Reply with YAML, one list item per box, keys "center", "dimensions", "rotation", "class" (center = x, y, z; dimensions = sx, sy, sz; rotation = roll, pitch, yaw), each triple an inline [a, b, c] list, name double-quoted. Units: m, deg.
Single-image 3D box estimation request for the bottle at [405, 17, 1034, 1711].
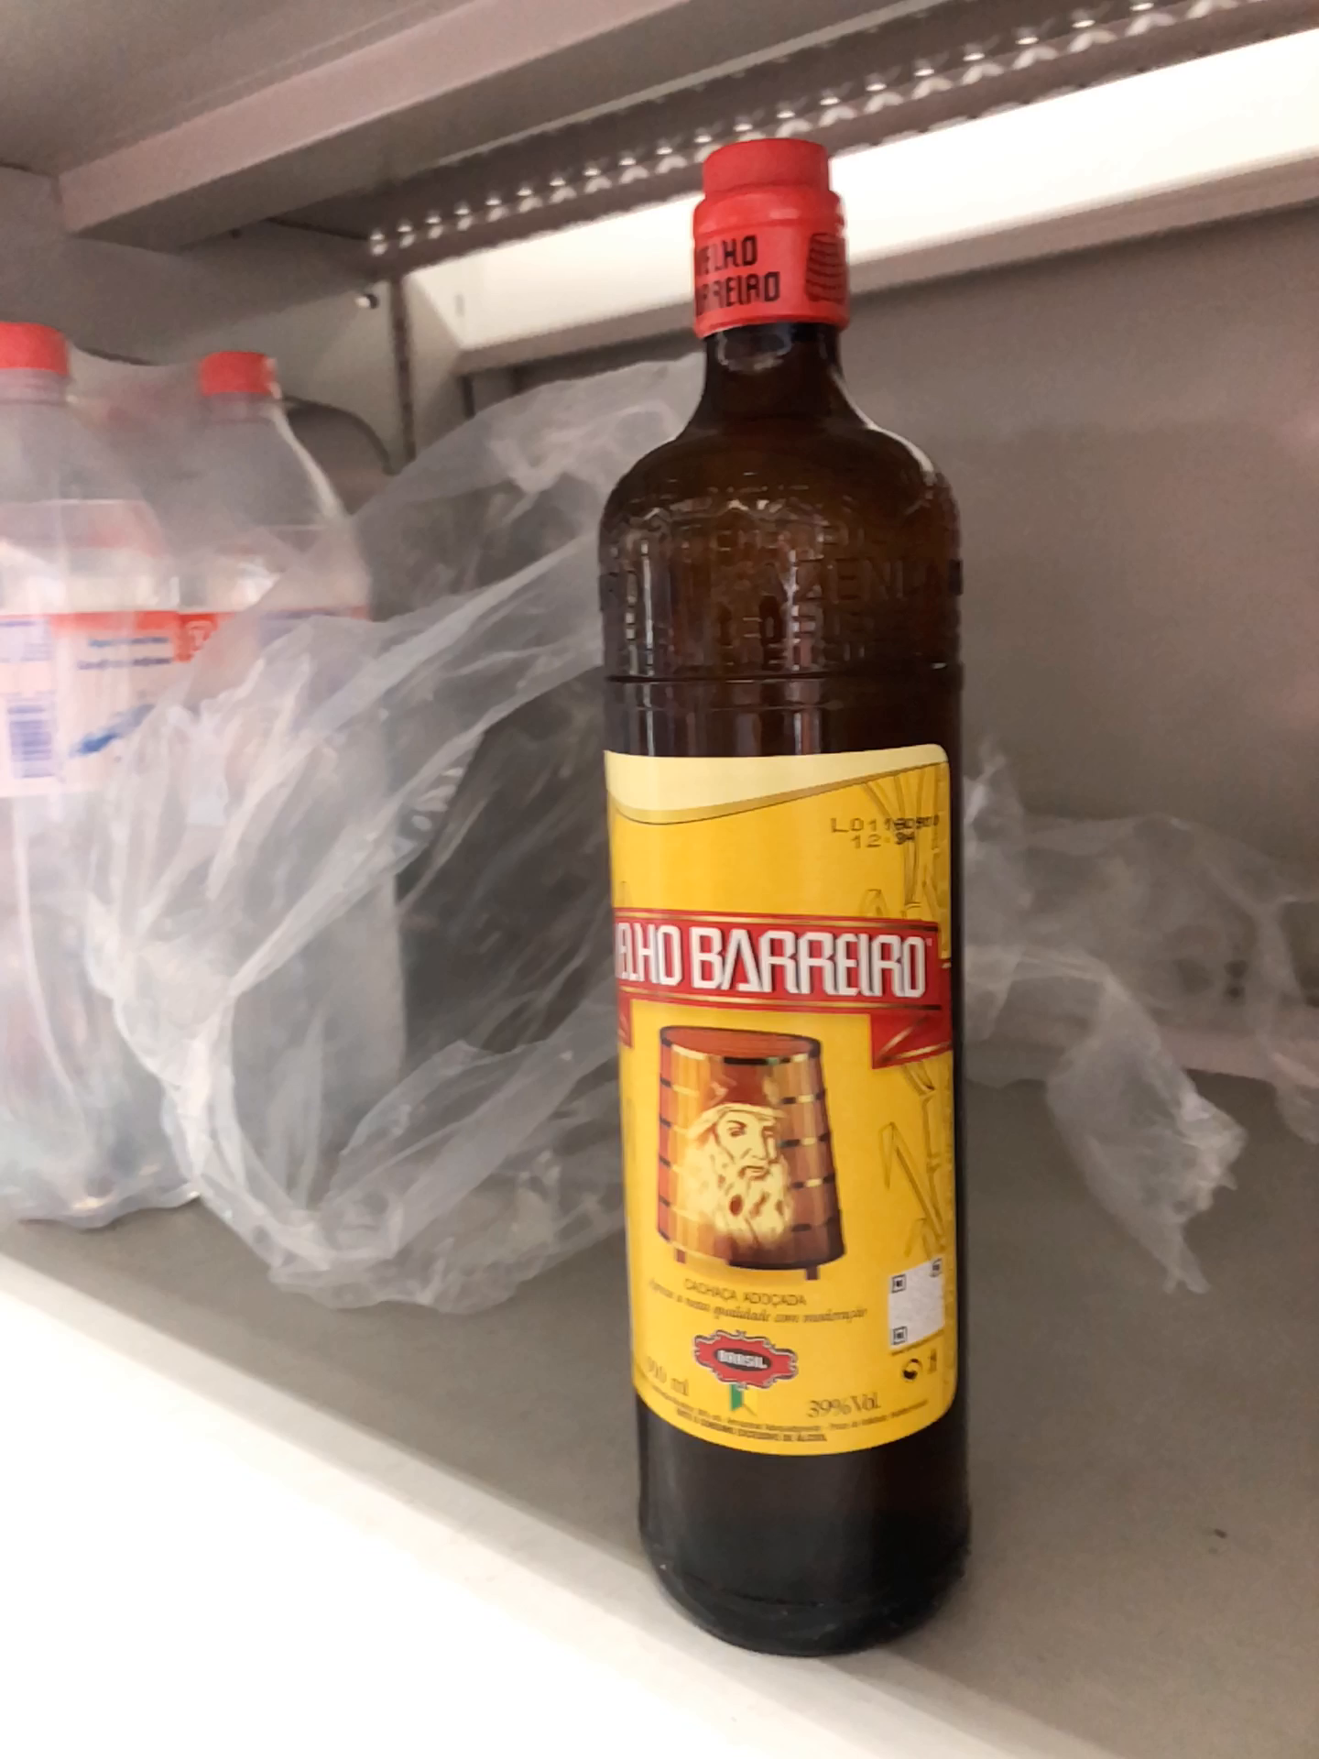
- center: [0.022, 0.003, 0.309]
  dimensions: [0.090, 0.299, 0.080]
  rotation: [0, 10, 24]
  class: "bottle"
